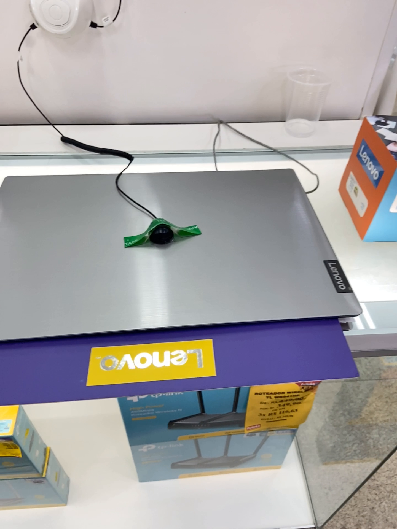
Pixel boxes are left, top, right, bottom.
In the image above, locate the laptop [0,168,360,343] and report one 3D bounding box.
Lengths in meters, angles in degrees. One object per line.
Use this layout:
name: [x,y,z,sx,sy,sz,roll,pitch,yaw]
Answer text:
laptop: [-0.048,-0.030,0.435,0.362,0.001,0.241,-3,46,-4]
